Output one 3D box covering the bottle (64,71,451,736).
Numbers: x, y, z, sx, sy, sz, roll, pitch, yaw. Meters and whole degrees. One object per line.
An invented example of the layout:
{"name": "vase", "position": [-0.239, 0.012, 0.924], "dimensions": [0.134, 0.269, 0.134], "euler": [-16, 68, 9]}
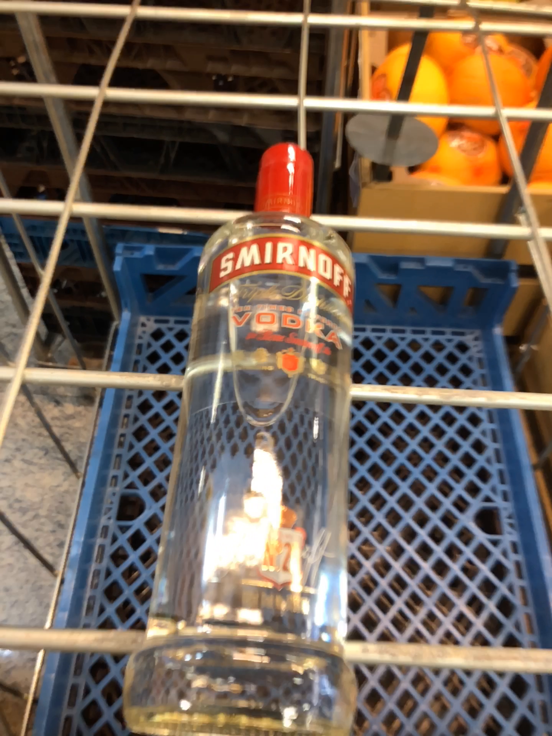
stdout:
{"name": "bottle", "position": [-0.001, 0.001, 0.286], "dimensions": [0.100, 0.099, 0.312], "euler": [3, 57, -1]}
